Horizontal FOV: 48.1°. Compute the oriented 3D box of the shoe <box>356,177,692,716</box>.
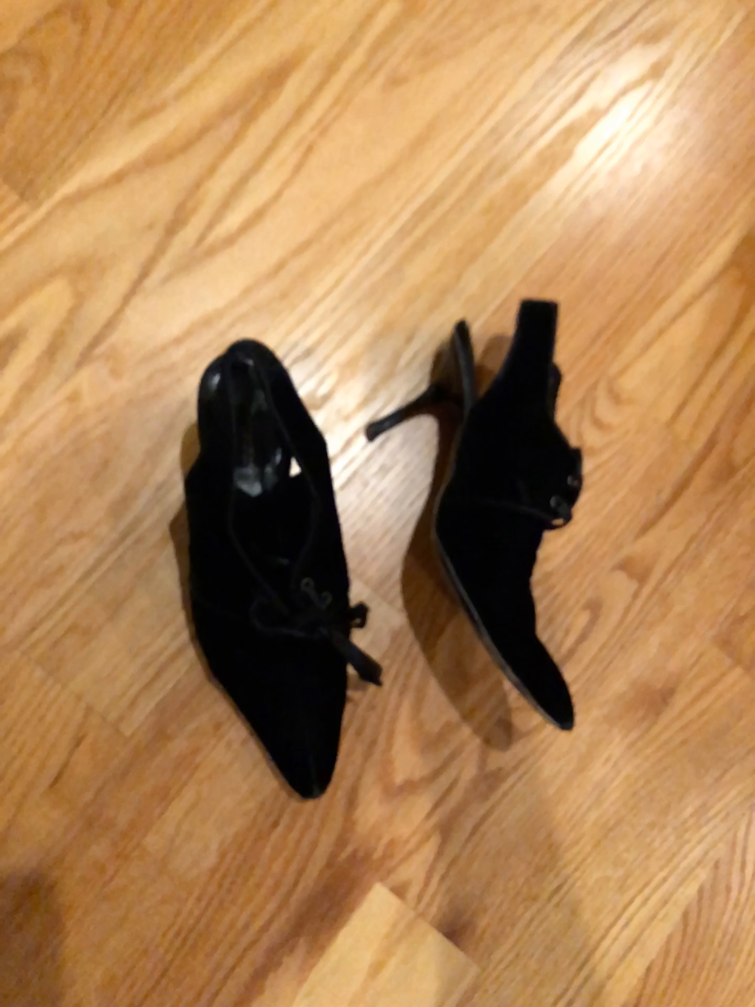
[{"bbox_3d":[0.067,-0.028,0.454,0.118,0.107,0.252,-5,83,-10],"label":"shoe"}]

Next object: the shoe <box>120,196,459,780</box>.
[{"bbox_3d":[-0.051,-0.007,0.439,0.107,0.117,0.252,-10,84,-12],"label":"shoe"}]
